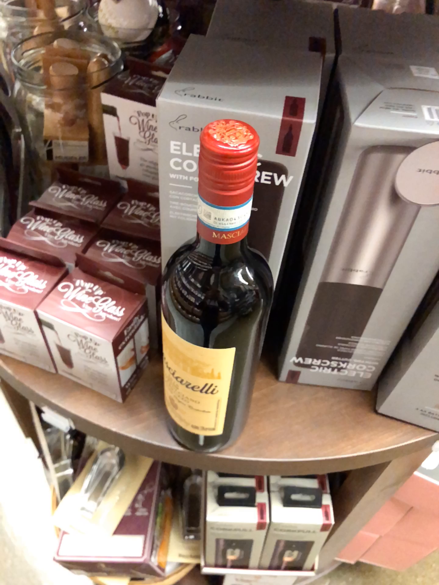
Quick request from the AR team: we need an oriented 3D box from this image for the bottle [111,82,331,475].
[{"bbox_3d":[-0.006,0.019,0.332,0.075,0.283,0.072,1,49,-2],"label":"bottle"}]
